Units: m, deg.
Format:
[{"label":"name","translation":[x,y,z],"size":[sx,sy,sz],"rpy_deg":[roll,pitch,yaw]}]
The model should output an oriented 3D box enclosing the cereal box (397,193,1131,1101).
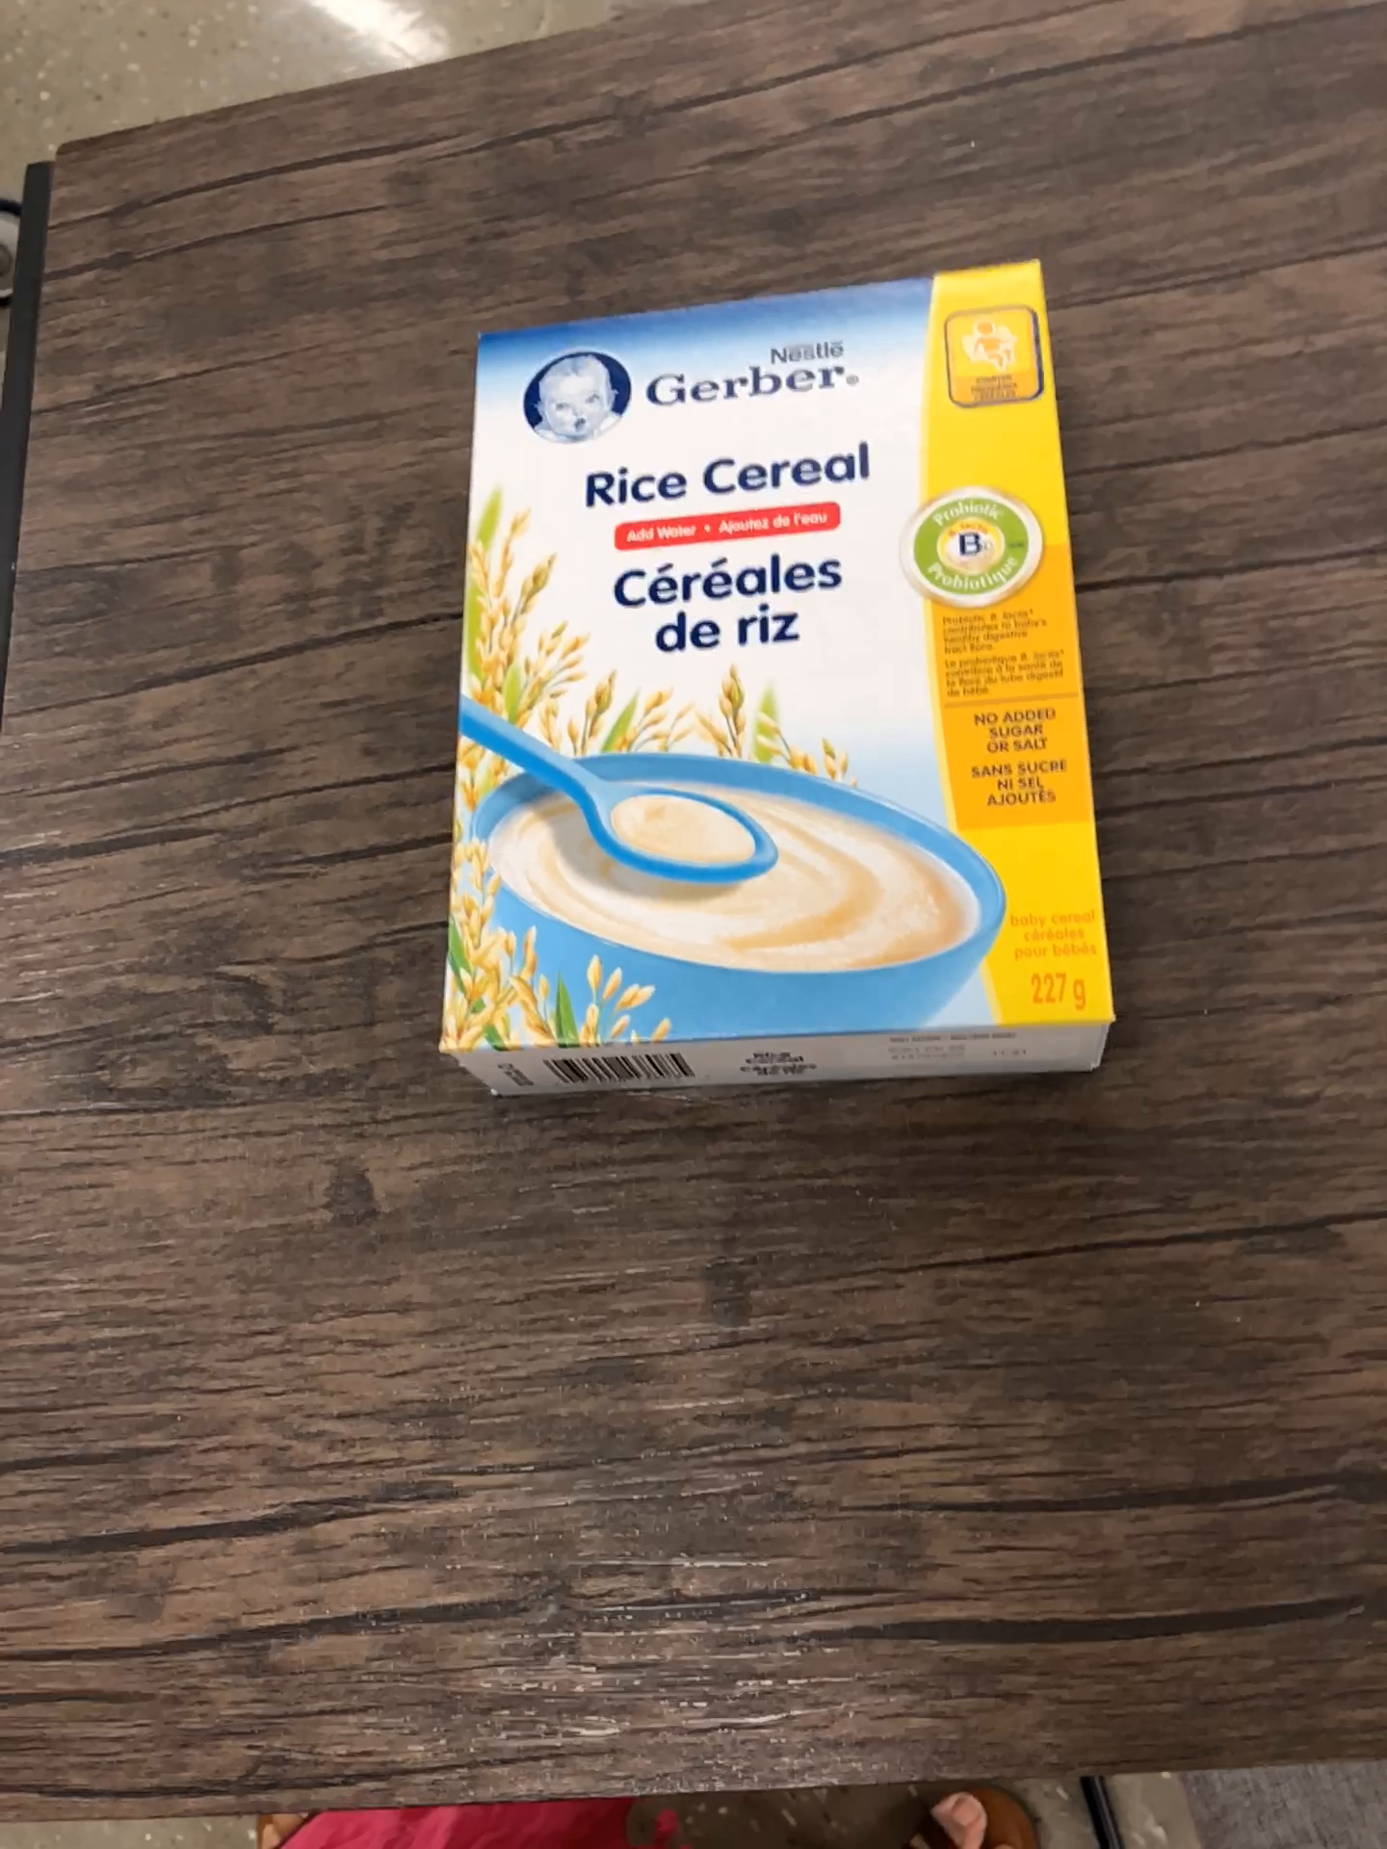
[{"label":"cereal box","translation":[0.015,-0.064,0.367],"size":[0.150,0.050,0.200],"rpy_deg":[-3,72,10]}]
